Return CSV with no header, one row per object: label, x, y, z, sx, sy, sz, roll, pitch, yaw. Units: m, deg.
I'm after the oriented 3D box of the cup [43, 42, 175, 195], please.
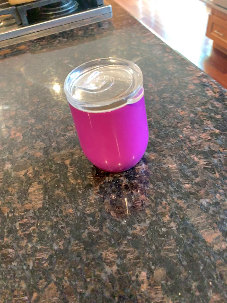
cup,-0.002,-0.035,0.256,0.090,0.109,0.090,-5,48,5
